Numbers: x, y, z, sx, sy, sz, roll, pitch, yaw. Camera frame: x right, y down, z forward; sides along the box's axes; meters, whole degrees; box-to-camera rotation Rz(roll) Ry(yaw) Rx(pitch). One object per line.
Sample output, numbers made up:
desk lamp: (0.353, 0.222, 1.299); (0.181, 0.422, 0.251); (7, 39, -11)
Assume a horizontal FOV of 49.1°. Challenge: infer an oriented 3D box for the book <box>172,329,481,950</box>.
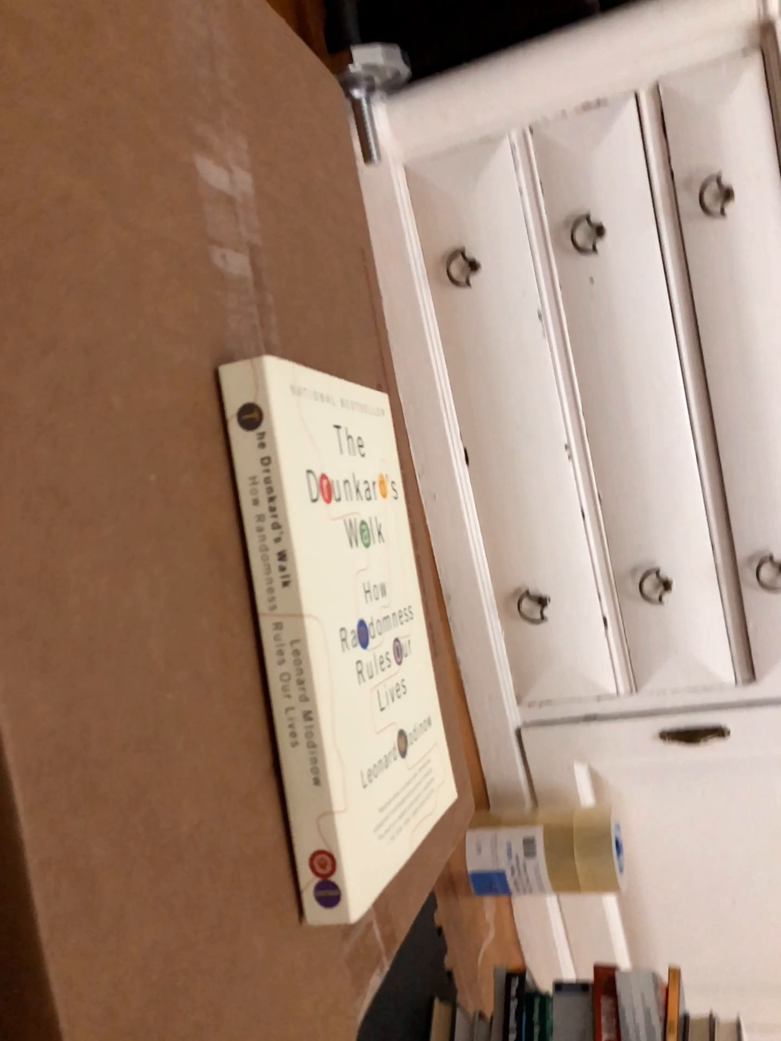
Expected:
book: (-0.017, 0.039, 0.358); (0.141, 0.040, 0.210); (-7, 87, -70)
